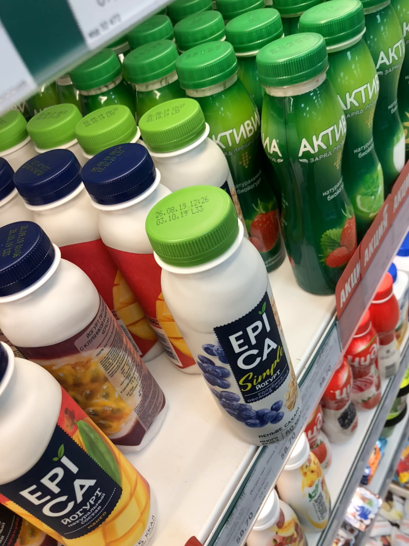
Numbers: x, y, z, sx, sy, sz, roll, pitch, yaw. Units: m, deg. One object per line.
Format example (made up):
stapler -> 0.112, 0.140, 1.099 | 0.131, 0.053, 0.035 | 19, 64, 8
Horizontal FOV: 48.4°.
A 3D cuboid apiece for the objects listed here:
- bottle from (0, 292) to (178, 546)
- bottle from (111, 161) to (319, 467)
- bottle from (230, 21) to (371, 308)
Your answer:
bottle -> -0.072, 0.093, 0.218 | 0.053, 0.170, 0.049 | -11, 43, 10
bottle -> 0.016, 0.033, 0.246 | 0.053, 0.170, 0.052 | -11, 43, 10
bottle -> 0.074, -0.063, 0.313 | 0.053, 0.181, 0.053 | -11, 43, 10
